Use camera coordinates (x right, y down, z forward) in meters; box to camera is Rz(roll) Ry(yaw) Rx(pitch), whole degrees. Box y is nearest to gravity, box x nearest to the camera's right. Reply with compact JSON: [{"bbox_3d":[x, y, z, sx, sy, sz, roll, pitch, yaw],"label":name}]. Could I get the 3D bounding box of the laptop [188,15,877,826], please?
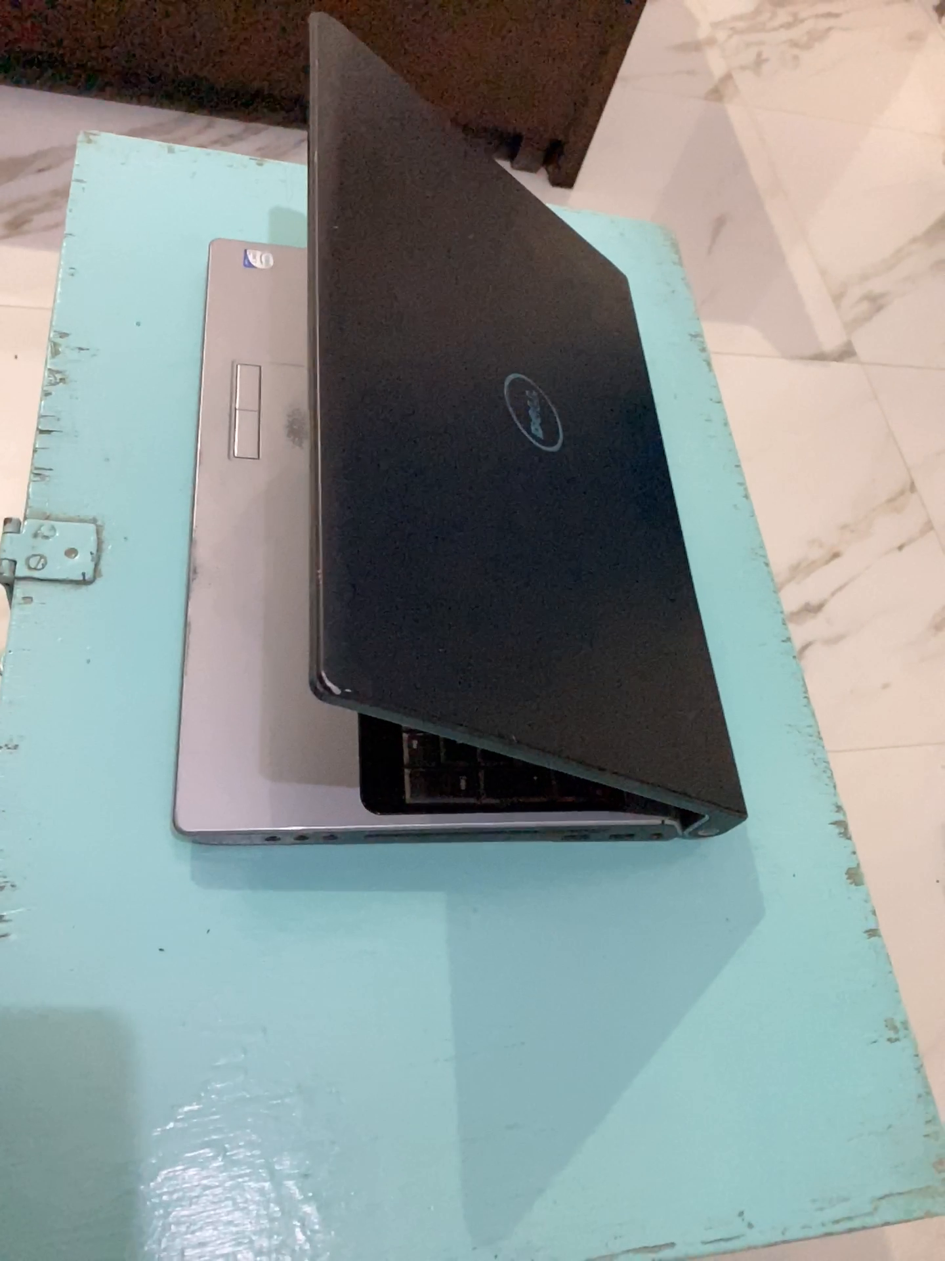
[{"bbox_3d":[-0.004,-0.111,0.506,0.261,0.152,0.388,2,60,-15],"label":"laptop"}]
